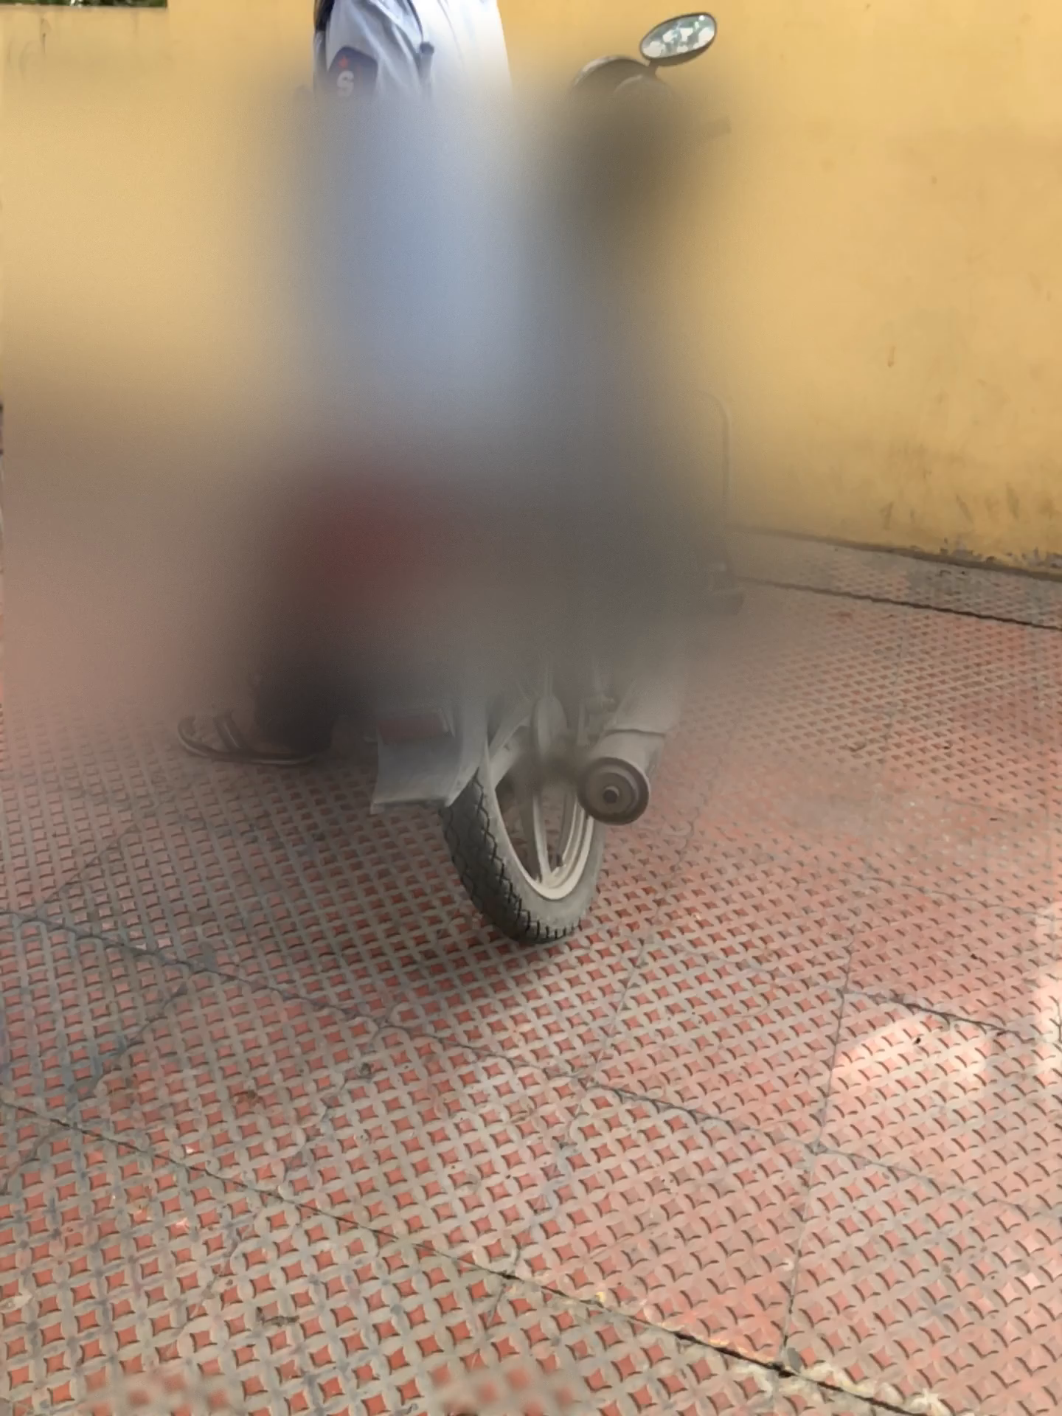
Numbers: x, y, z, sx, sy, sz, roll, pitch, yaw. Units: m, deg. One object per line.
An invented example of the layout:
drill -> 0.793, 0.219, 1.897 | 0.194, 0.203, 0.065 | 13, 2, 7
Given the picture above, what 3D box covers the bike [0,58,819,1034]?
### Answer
bike -> -0.123, -0.505, 2.061 | 0.920, 1.007, 1.685 | 5, 31, 5
